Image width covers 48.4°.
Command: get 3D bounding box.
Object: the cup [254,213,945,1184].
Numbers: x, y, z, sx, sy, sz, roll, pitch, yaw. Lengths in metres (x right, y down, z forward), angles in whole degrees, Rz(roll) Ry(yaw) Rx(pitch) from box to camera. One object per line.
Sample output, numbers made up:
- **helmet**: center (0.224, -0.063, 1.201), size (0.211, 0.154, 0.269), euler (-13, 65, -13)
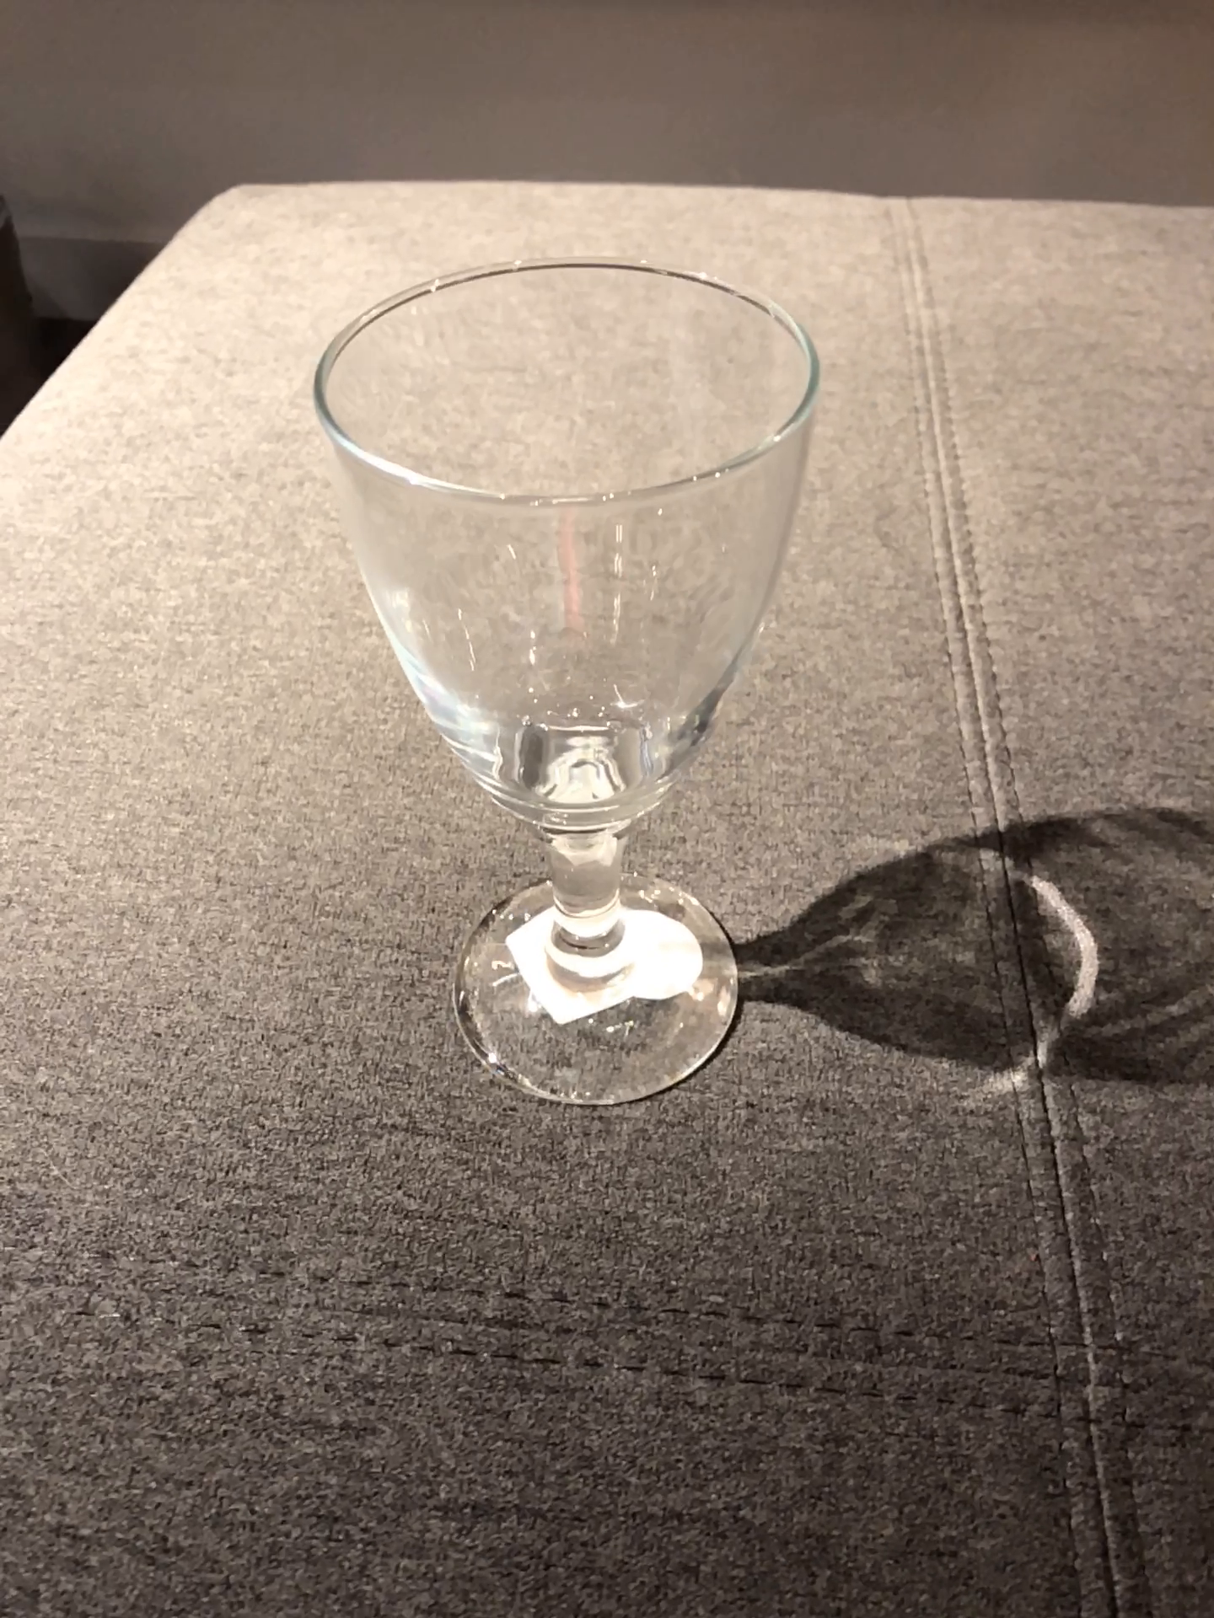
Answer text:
- **cup**: center (-0.007, -0.016, 0.283), size (0.090, 0.169, 0.090), euler (0, 46, 0)
